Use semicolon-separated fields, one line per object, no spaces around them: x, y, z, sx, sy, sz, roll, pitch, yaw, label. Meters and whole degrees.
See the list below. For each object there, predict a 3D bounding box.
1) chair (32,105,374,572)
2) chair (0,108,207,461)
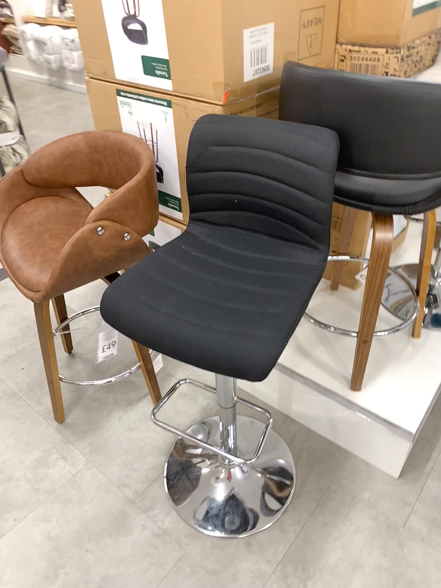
0.011;0.133;1.120;0.455;0.994;0.471;17;41;23;chair
-0.429;-0.043;1.461;0.520;0.875;0.527;-26;43;-29;chair
